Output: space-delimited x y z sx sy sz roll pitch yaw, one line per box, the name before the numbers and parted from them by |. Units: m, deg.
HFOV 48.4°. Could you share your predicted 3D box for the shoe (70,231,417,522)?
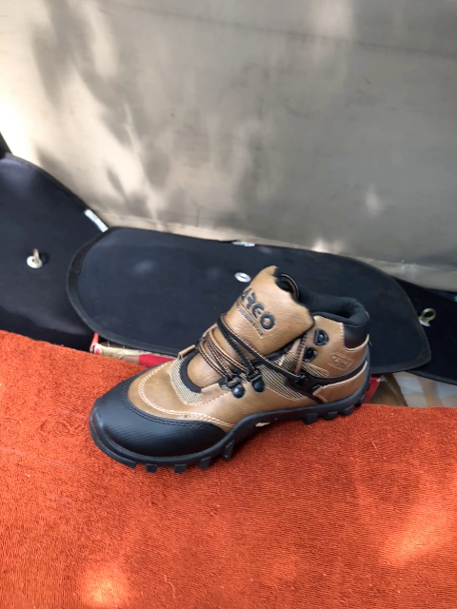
shoe | 0.014 0.050 0.461 0.271 0.149 0.110 -17 44 -28
